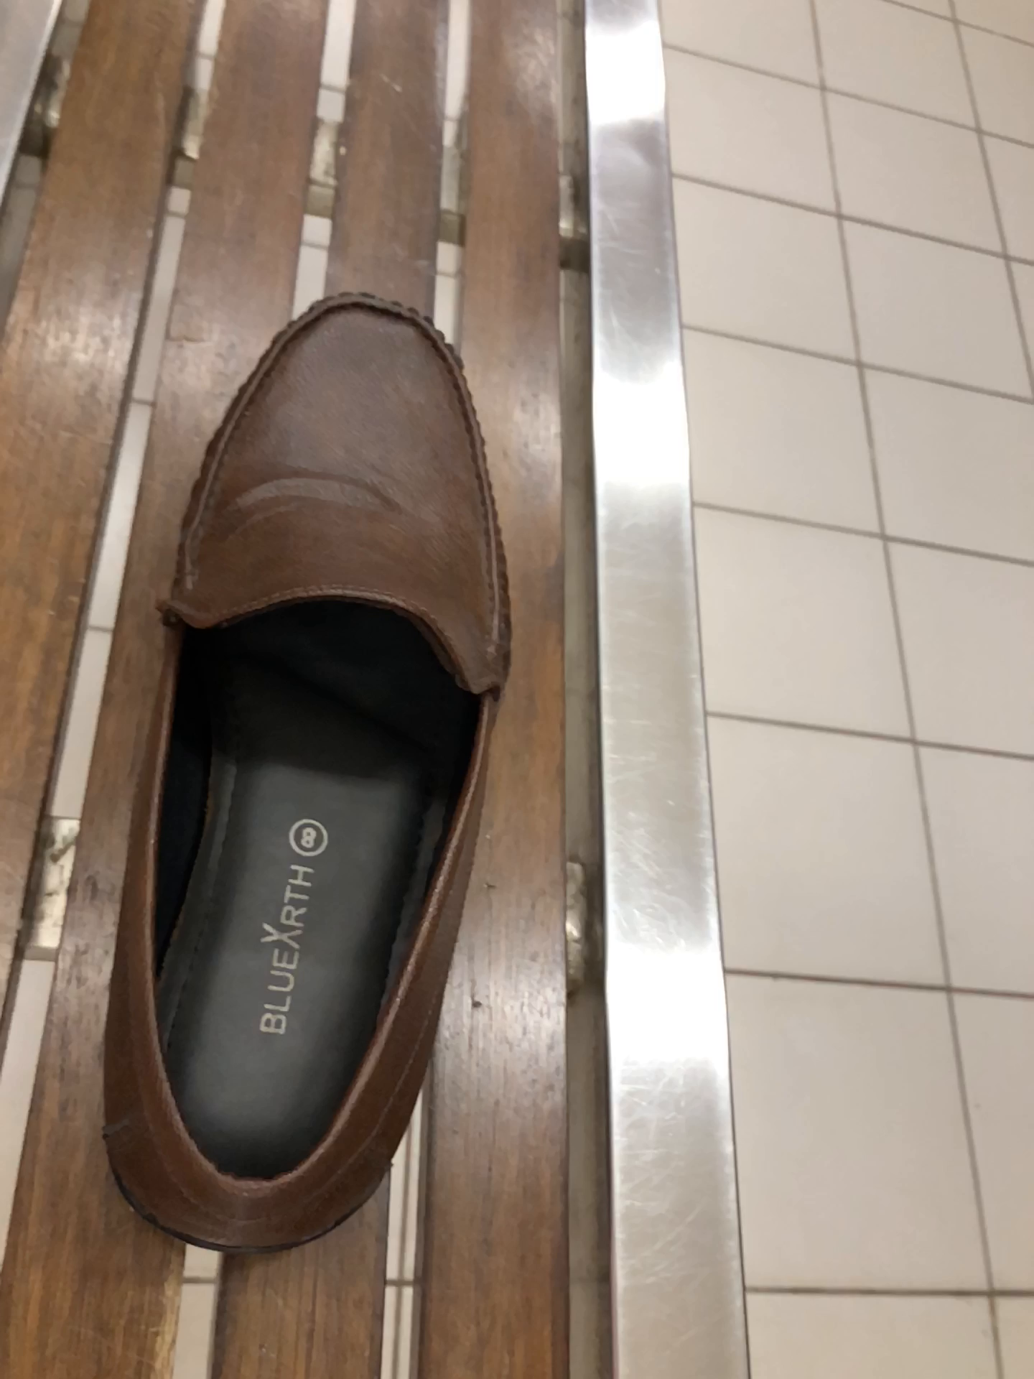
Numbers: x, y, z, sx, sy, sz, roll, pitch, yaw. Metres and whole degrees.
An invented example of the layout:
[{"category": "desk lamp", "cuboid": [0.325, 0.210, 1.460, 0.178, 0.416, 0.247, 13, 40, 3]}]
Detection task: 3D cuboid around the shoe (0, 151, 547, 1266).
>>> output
[{"category": "shoe", "cuboid": [-0.059, -0.003, 0.317, 0.090, 0.090, 0.281, 12, 63, -11]}]
